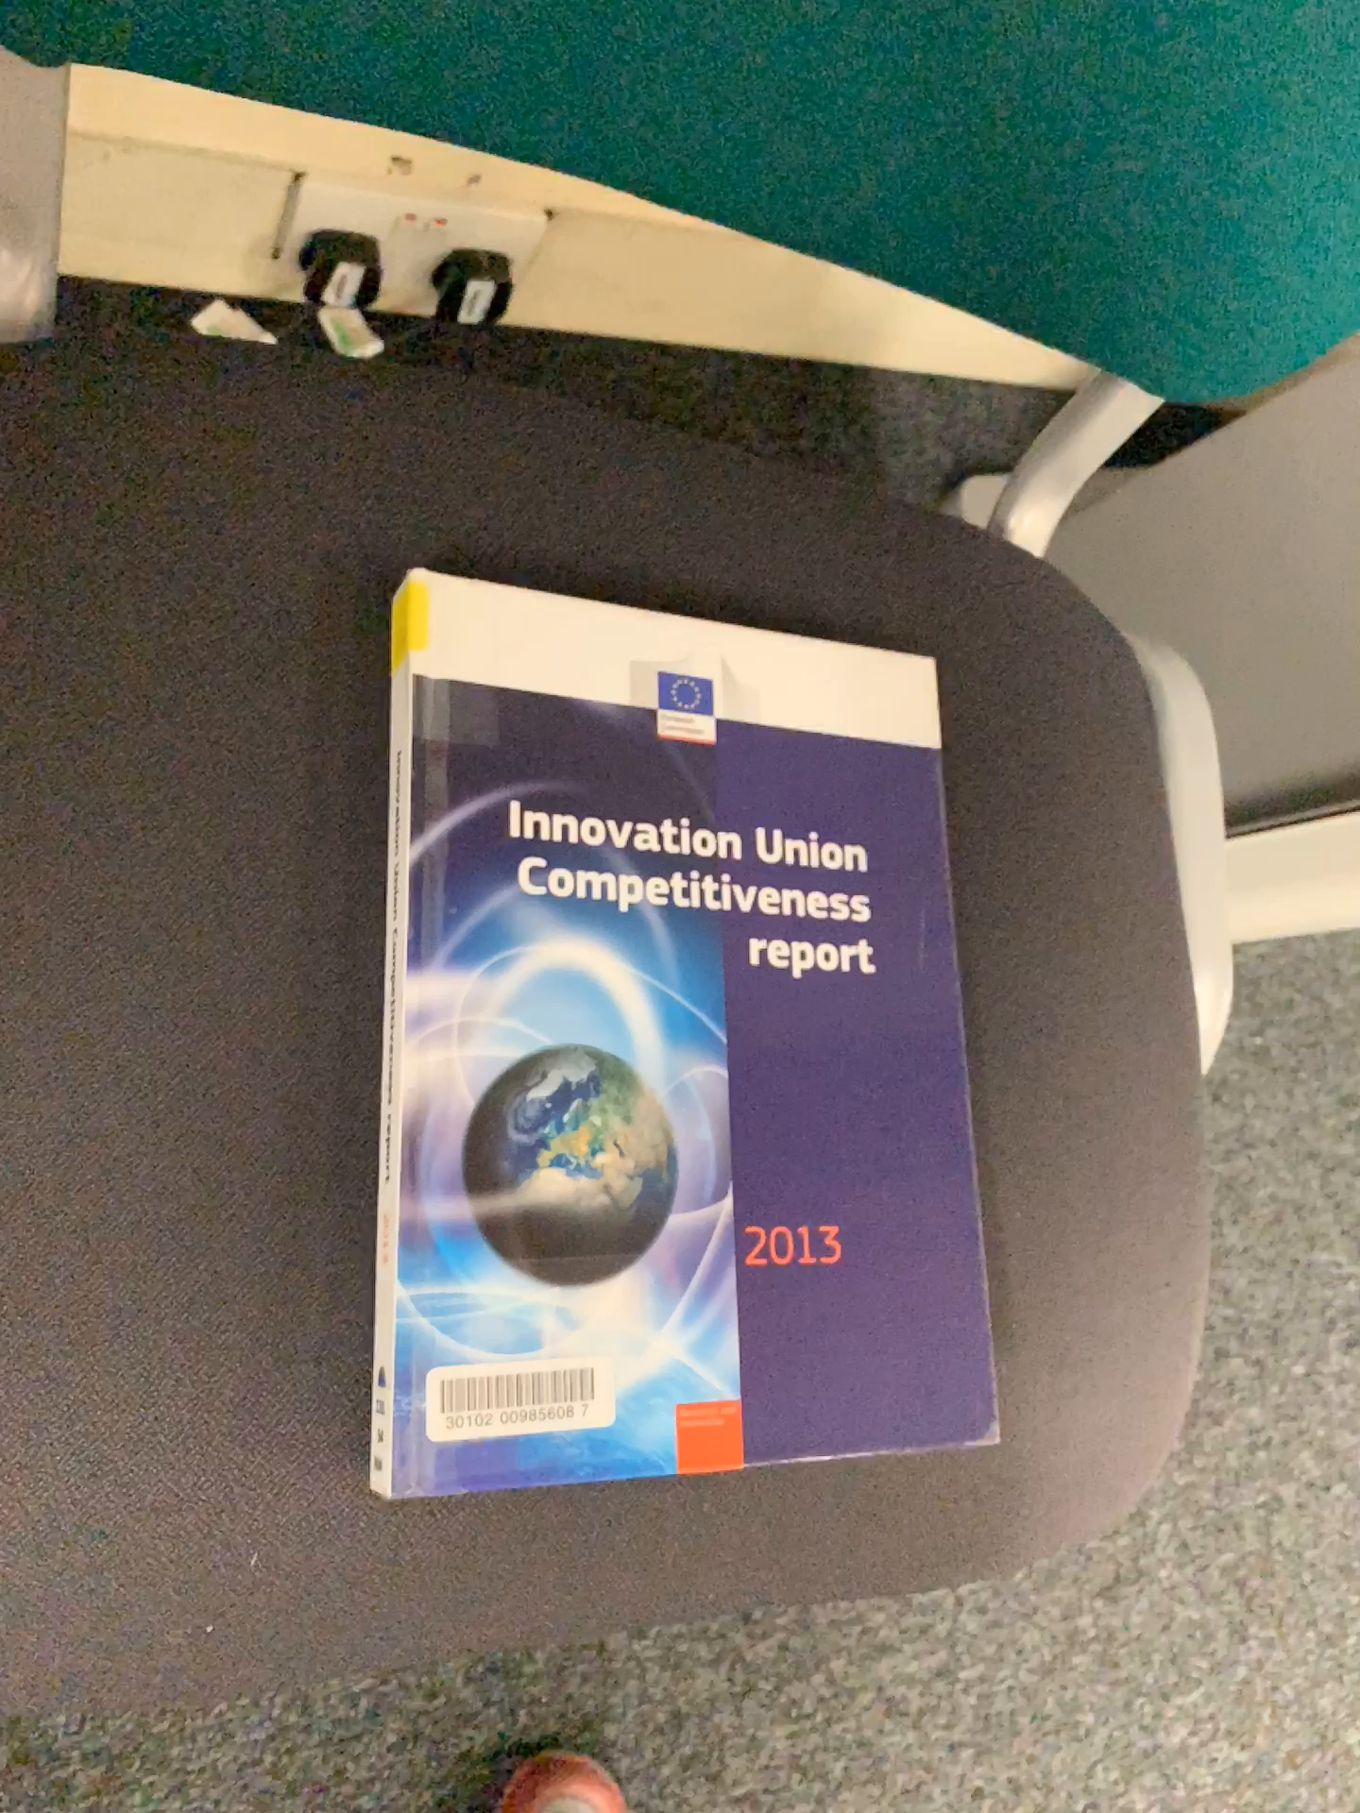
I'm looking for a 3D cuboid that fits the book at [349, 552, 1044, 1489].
[{"bbox_3d":[0.008,0.029,0.415,0.194,0.026,0.250,5,73,-21],"label":"book"}]
